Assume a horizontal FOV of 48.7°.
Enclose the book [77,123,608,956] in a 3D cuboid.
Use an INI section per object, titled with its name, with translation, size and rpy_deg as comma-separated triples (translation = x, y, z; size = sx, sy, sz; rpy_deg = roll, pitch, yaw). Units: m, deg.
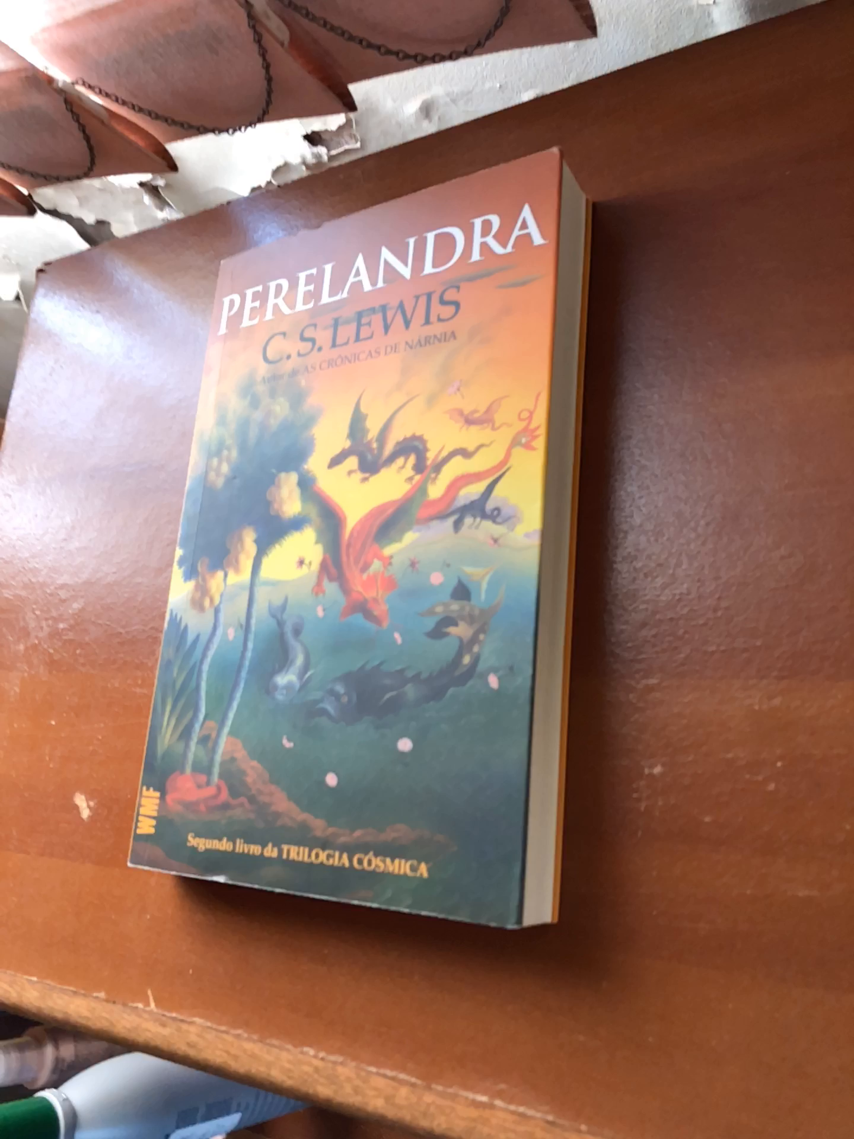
[book]
translation = -0.022, -0.009, 0.253
size = 0.130, 0.030, 0.190
rpy_deg = -5, 72, 33
